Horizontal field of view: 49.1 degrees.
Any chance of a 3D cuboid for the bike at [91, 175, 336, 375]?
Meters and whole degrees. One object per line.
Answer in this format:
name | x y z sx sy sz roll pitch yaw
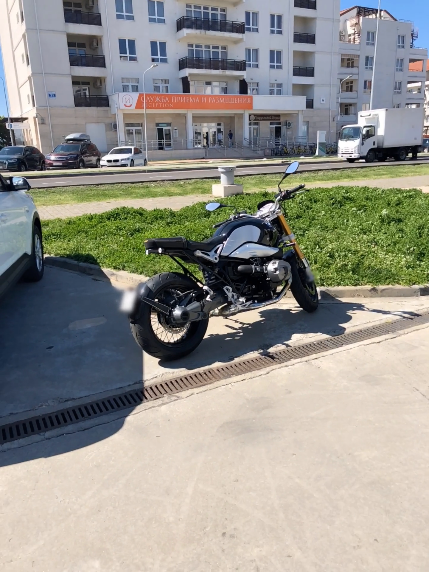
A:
bike | 0.094 -0.247 3.578 0.778 1.013 1.836 14 23 43
